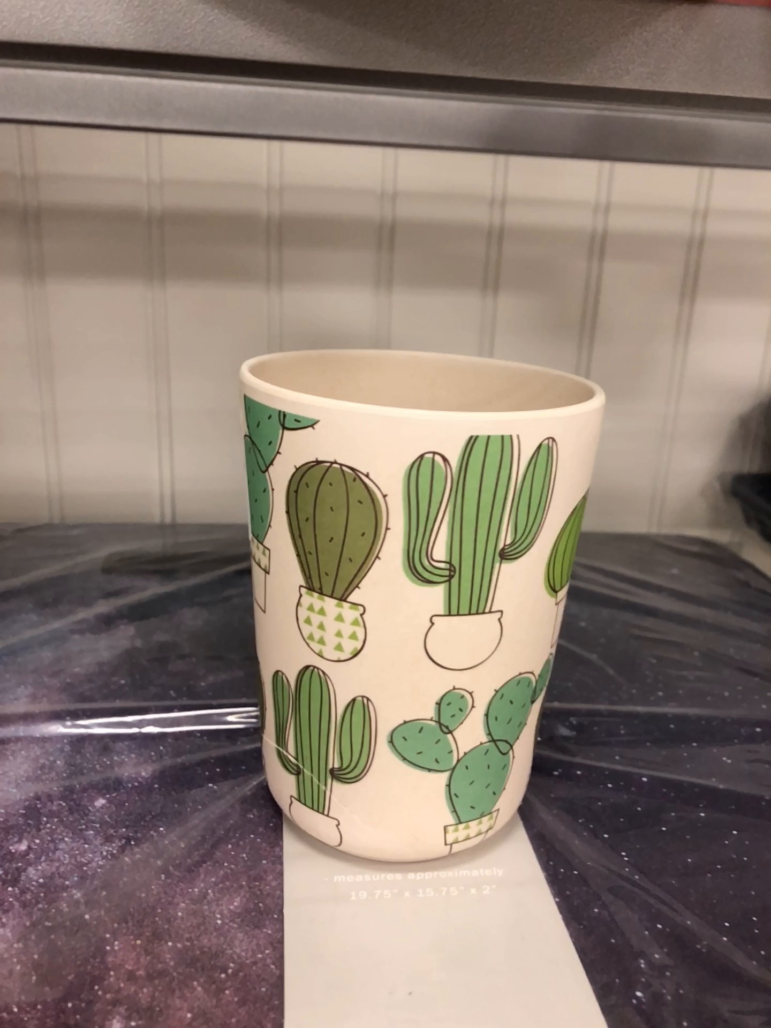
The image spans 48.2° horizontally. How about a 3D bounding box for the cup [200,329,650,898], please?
[{"bbox_3d":[0.011,0.020,0.253,0.100,0.129,0.091,5,19,7],"label":"cup"}]
